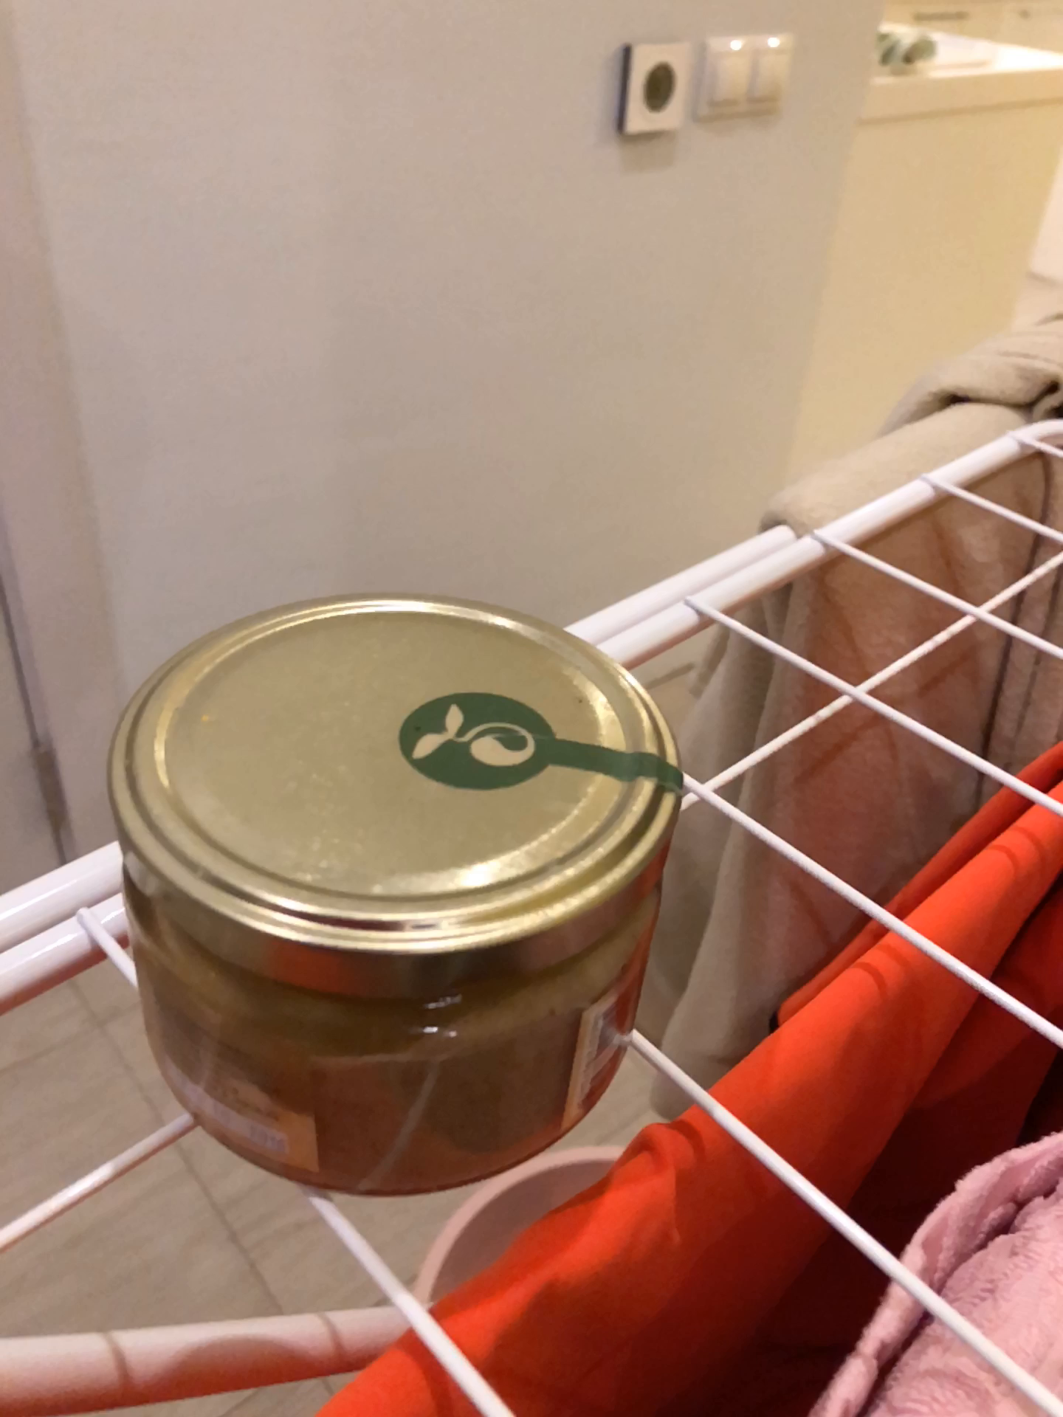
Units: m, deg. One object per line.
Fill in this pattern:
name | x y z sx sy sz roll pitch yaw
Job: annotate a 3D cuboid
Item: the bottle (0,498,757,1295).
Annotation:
bottle | -0.022 0.021 0.191 0.090 0.060 0.091 3 36 -2
